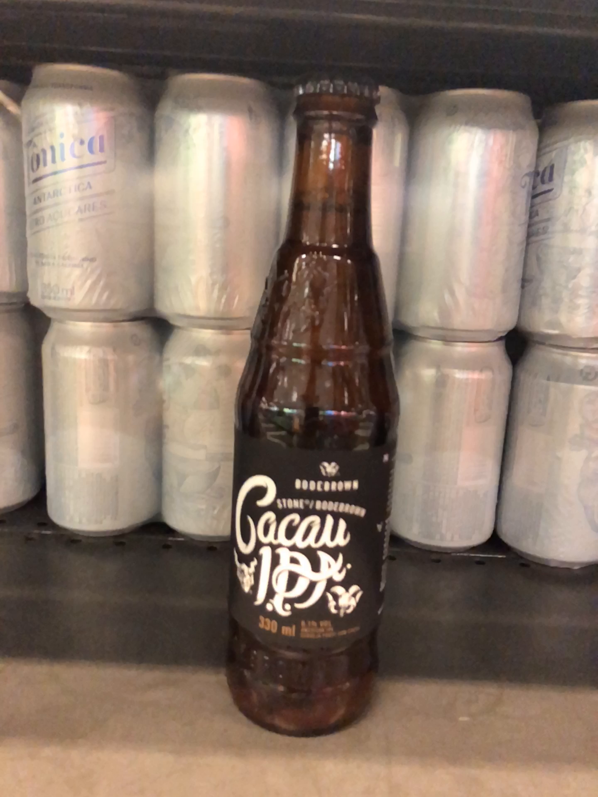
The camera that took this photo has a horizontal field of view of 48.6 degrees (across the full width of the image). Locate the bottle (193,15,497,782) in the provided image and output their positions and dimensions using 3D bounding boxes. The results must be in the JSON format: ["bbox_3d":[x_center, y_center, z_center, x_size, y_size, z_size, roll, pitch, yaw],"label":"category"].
[{"bbox_3d":[0.012,0.006,0.247,0.080,0.249,0.070,6,15,9],"label":"bottle"}]
